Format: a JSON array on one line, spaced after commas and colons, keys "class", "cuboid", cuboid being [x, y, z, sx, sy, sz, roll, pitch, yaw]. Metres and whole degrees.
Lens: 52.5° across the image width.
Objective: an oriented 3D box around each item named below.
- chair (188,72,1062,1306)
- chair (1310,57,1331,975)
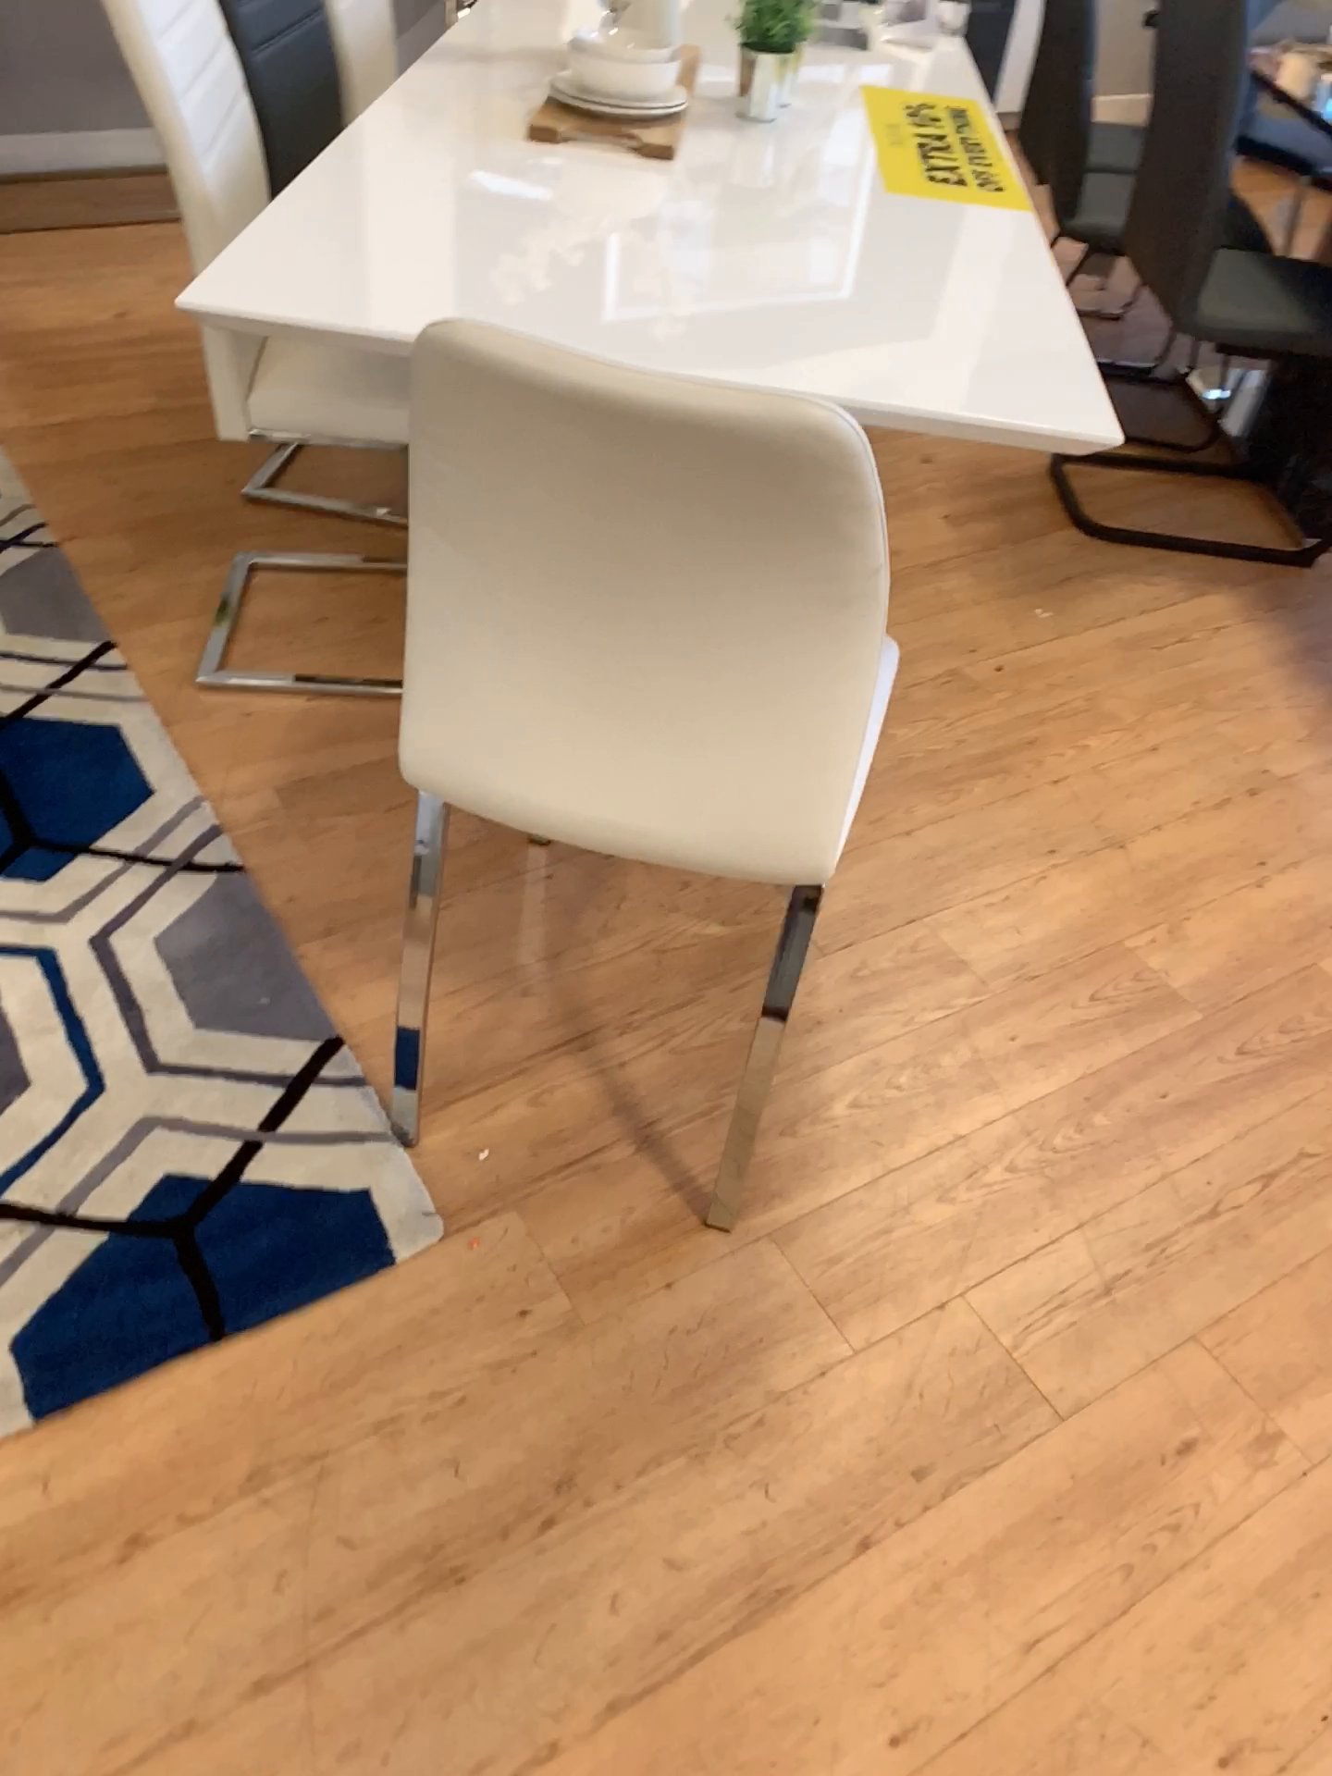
[{"class": "chair", "cuboid": [-0.007, -0.189, 1.316, 0.490, 0.881, 0.676, 15, 42, 8]}, {"class": "chair", "cuboid": [1.455, -0.495, 1.865, 0.520, 0.950, 0.717, 6, 42, -2]}]
